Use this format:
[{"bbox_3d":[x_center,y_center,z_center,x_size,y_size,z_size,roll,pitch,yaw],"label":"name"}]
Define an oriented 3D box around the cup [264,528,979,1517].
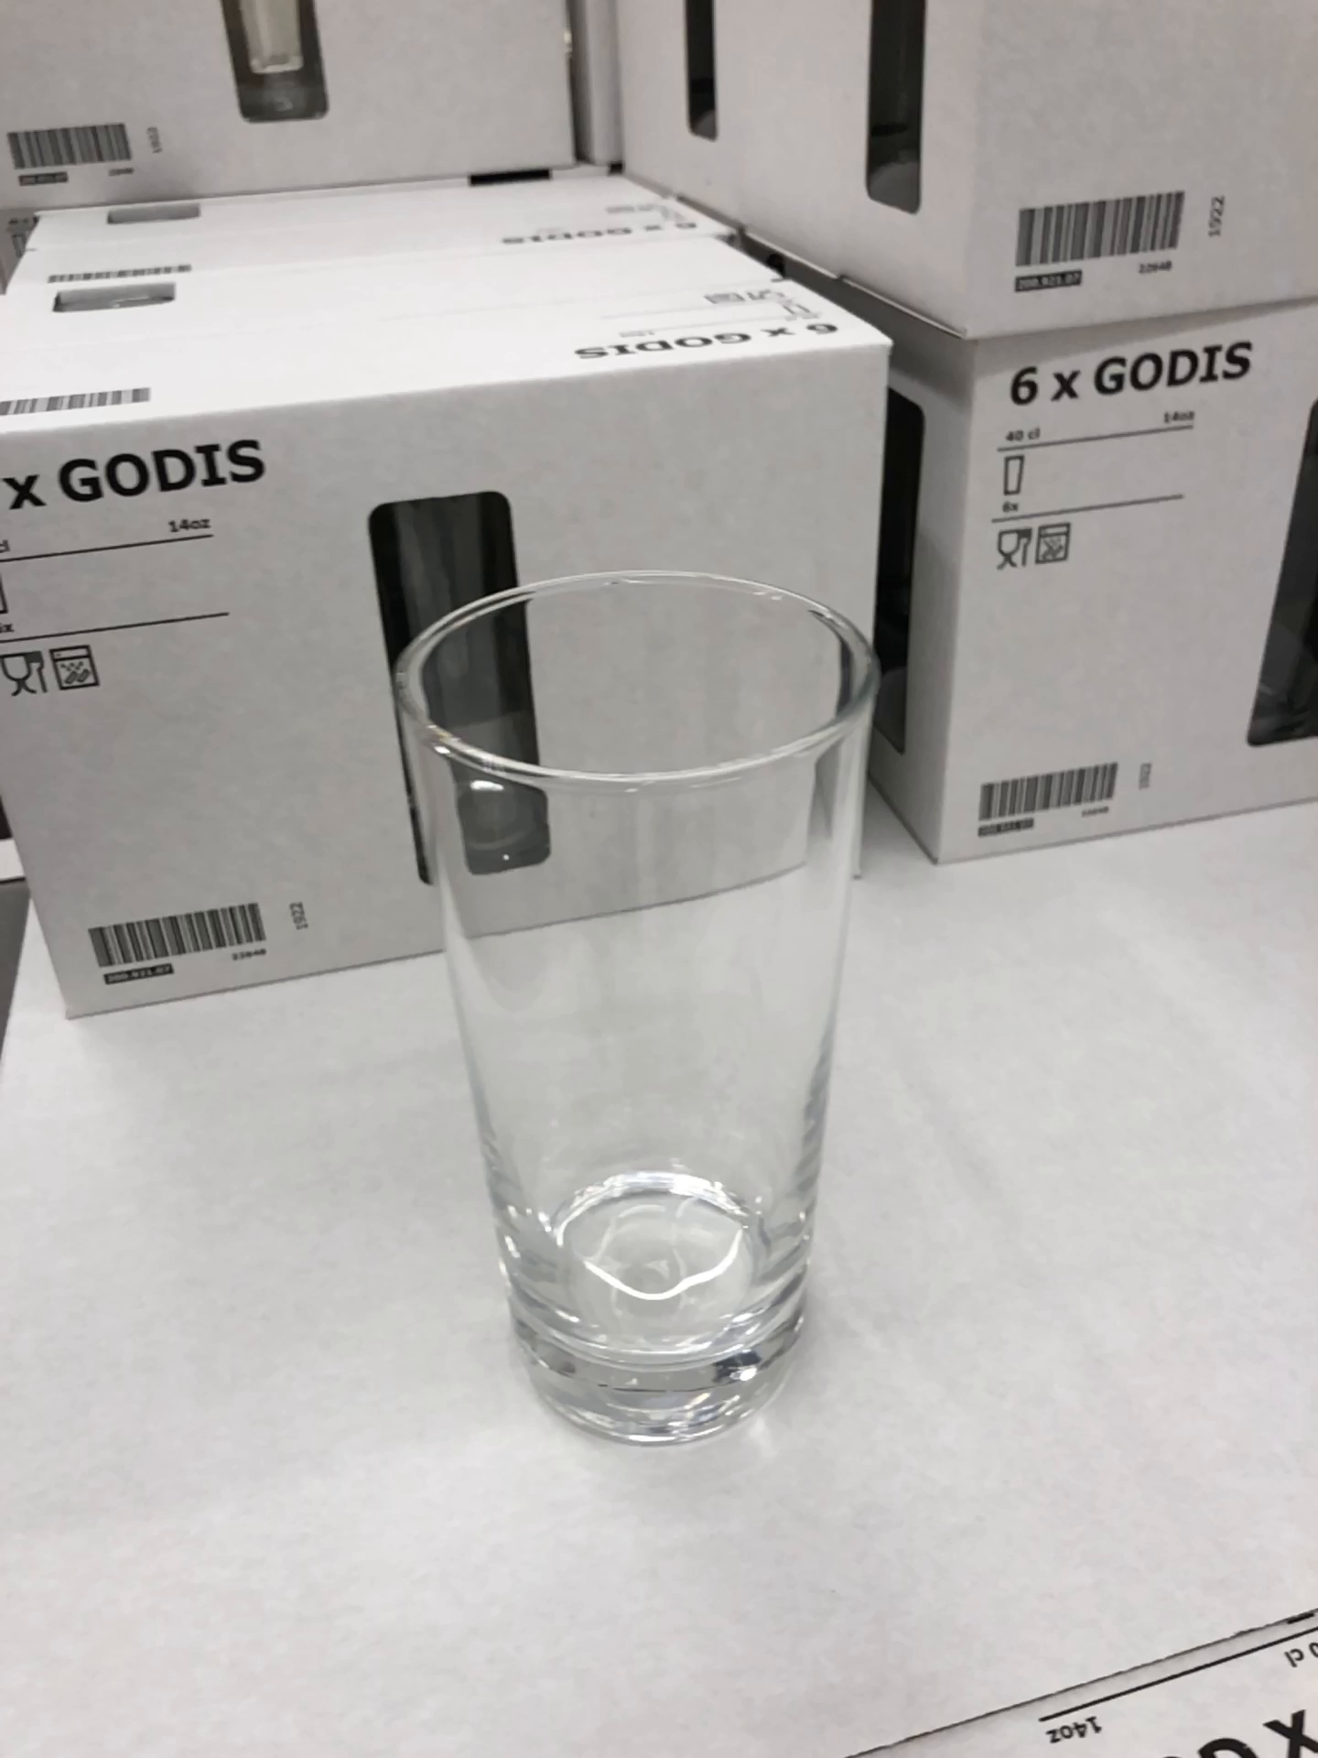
[{"bbox_3d":[-0.005,0.023,0.269,0.080,0.139,0.080,-1,33,1],"label":"cup"}]
